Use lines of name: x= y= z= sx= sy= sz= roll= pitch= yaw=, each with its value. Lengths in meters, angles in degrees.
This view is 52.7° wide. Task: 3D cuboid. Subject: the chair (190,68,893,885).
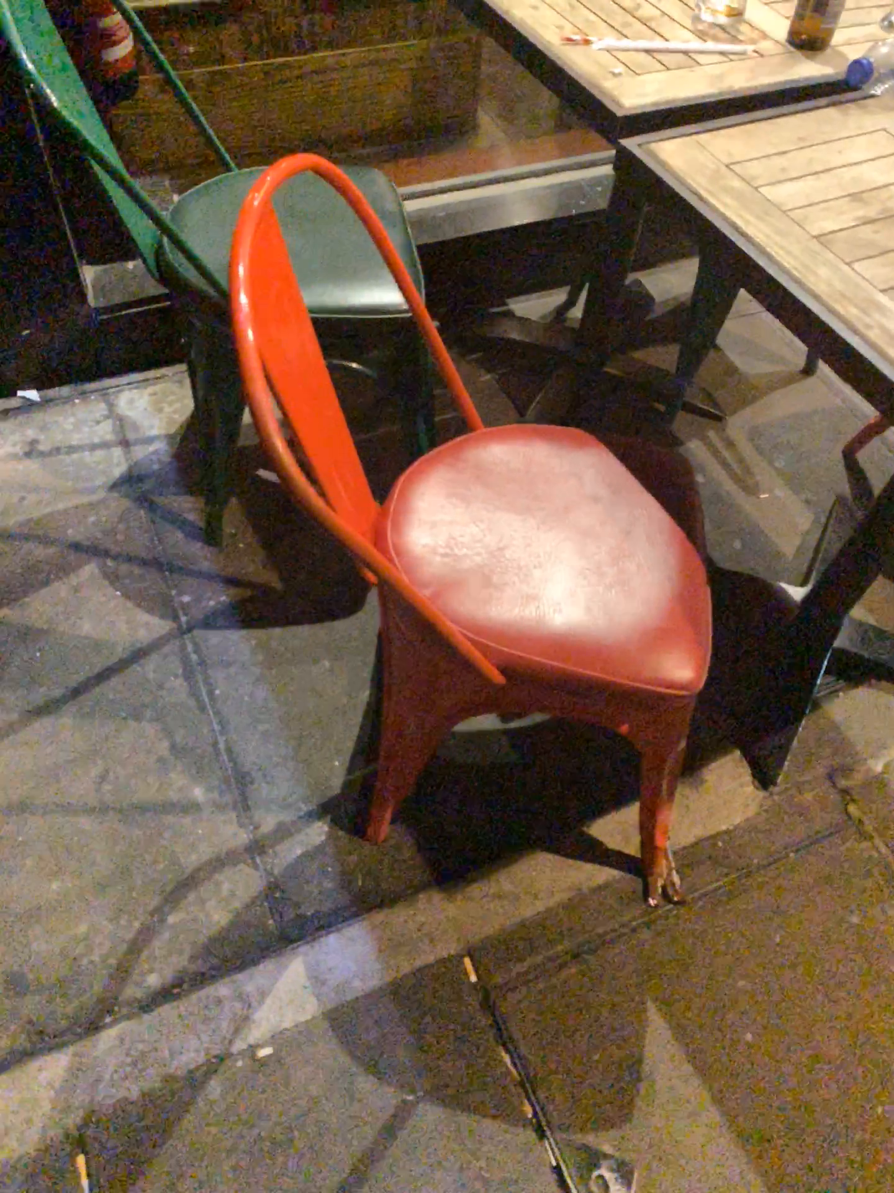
chair: x=0.081 y=-0.049 z=1.017 sx=0.510 sy=0.813 sz=0.434 roll=3 pitch=52 yaw=-1

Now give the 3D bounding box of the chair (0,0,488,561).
chair: x=-0.225 y=-0.478 z=1.308 sx=0.510 sy=0.833 sz=0.433 roll=-3 pitch=58 yaw=-1
